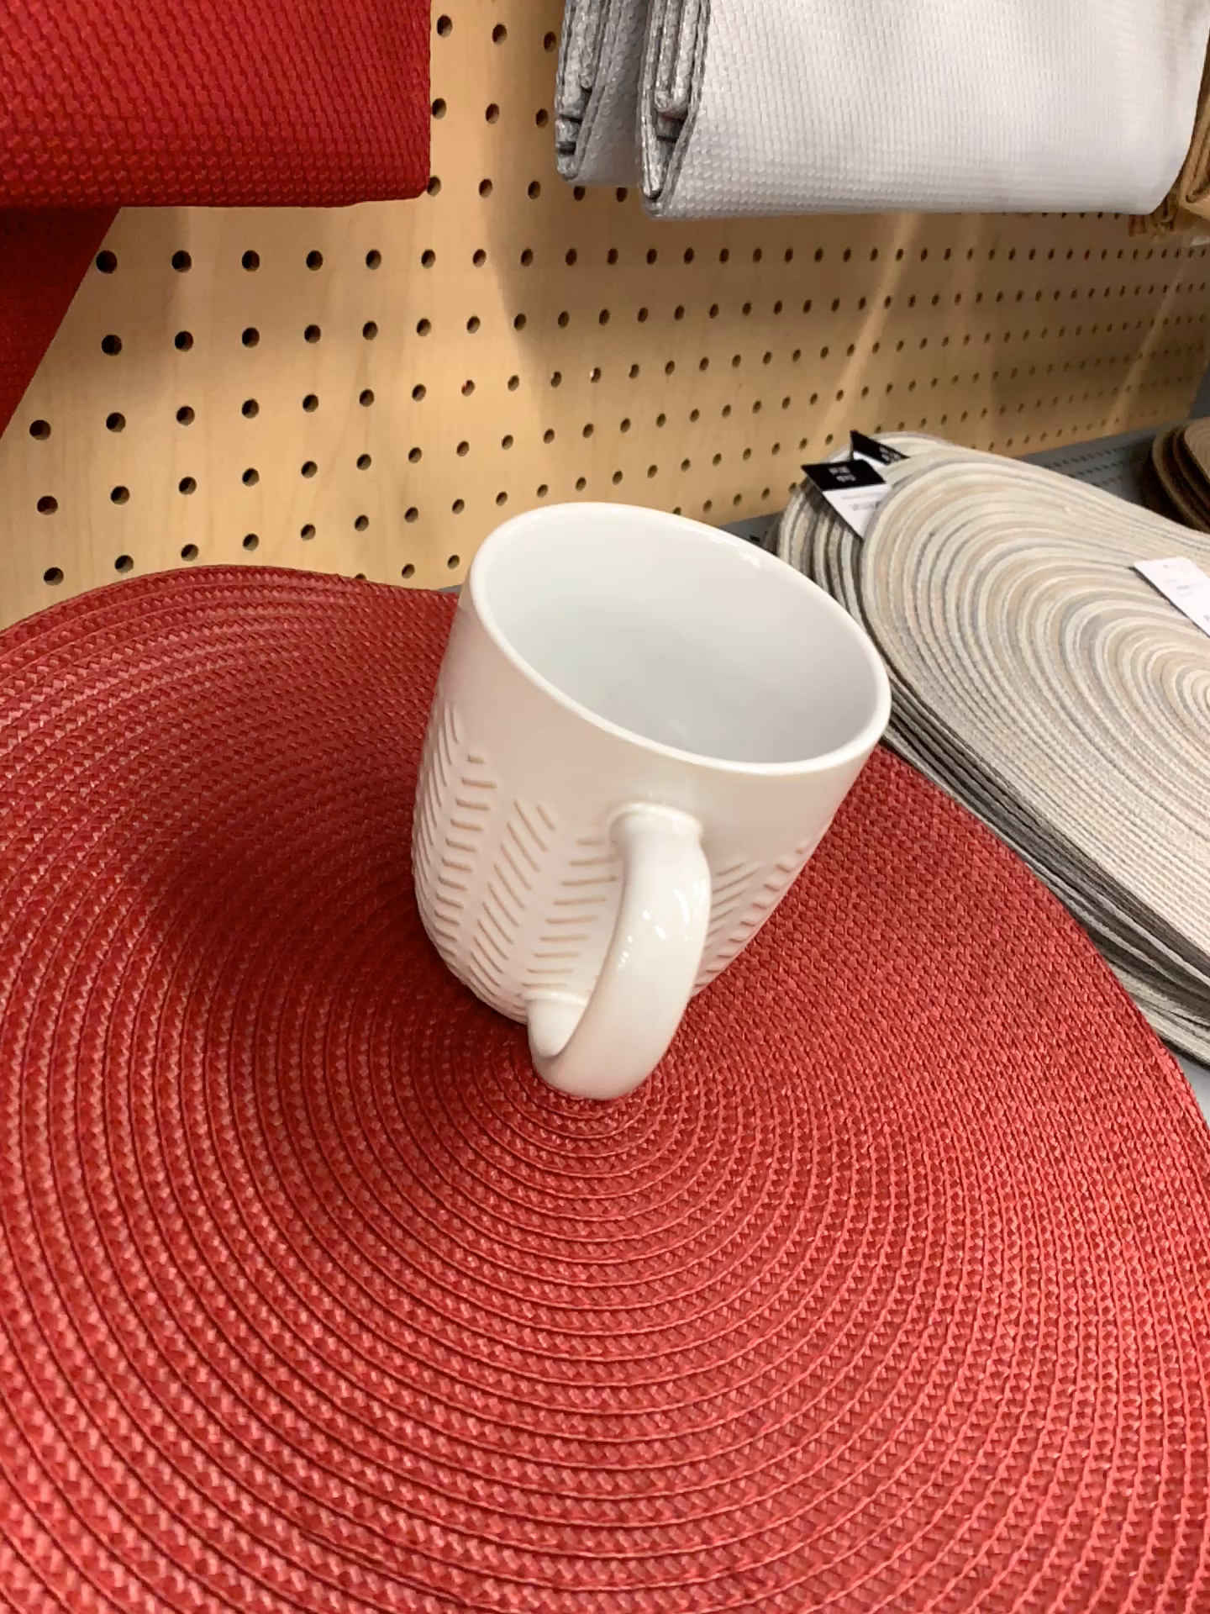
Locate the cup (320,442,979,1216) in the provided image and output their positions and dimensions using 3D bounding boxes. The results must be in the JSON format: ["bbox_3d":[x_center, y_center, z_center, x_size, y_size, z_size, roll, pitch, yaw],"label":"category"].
[{"bbox_3d":[0.005,-0.003,0.271,0.100,0.089,0.141,5,39,-2],"label":"cup"}]
